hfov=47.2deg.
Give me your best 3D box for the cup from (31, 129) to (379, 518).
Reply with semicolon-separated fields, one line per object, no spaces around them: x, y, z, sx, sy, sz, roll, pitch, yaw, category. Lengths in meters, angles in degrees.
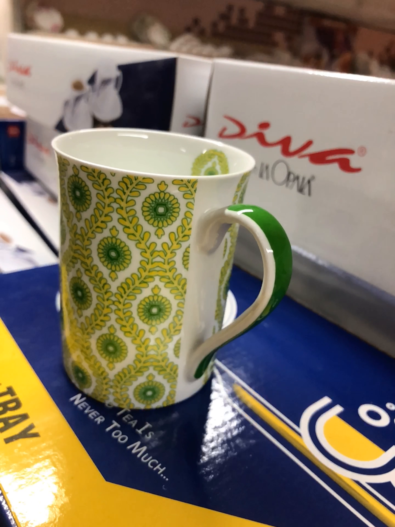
-0.009;0.006;0.167;0.070;0.089;0.100;-10;30;-34;cup
